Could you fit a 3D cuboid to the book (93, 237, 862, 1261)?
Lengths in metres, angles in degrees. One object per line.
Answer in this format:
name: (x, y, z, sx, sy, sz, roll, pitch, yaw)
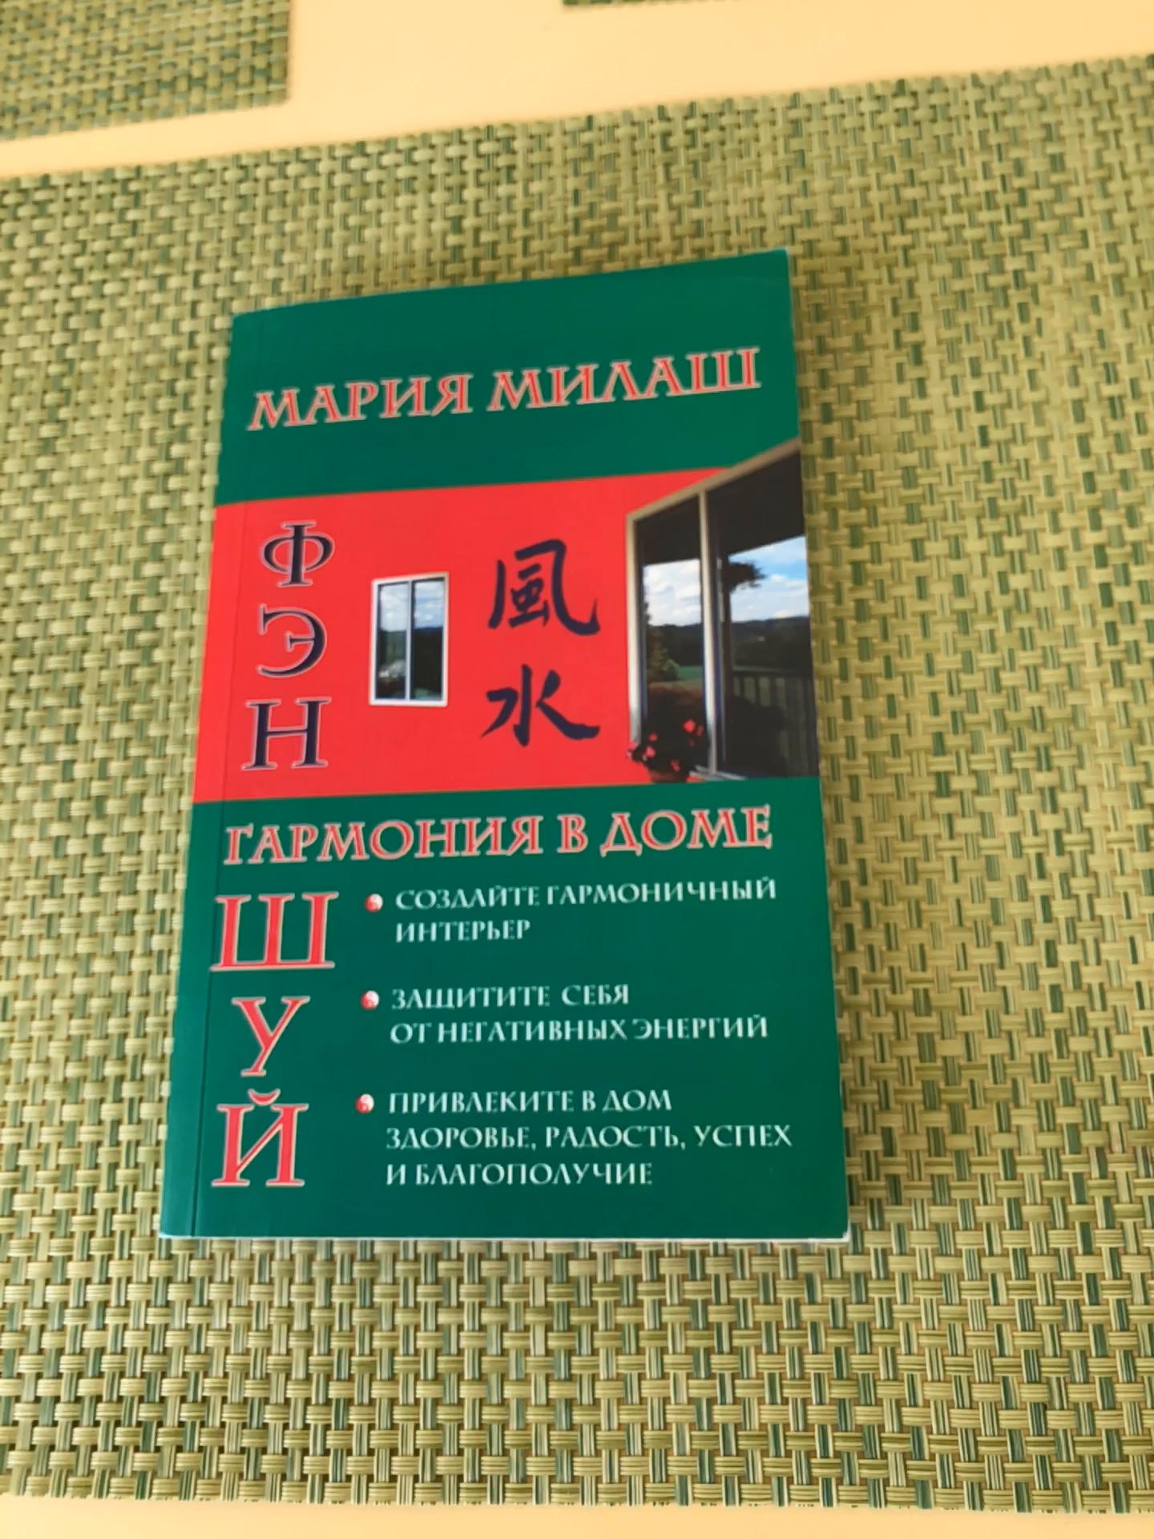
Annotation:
book: (-0.019, -0.009, 0.261, 0.137, 0.020, 0.200, -3, 73, 9)
